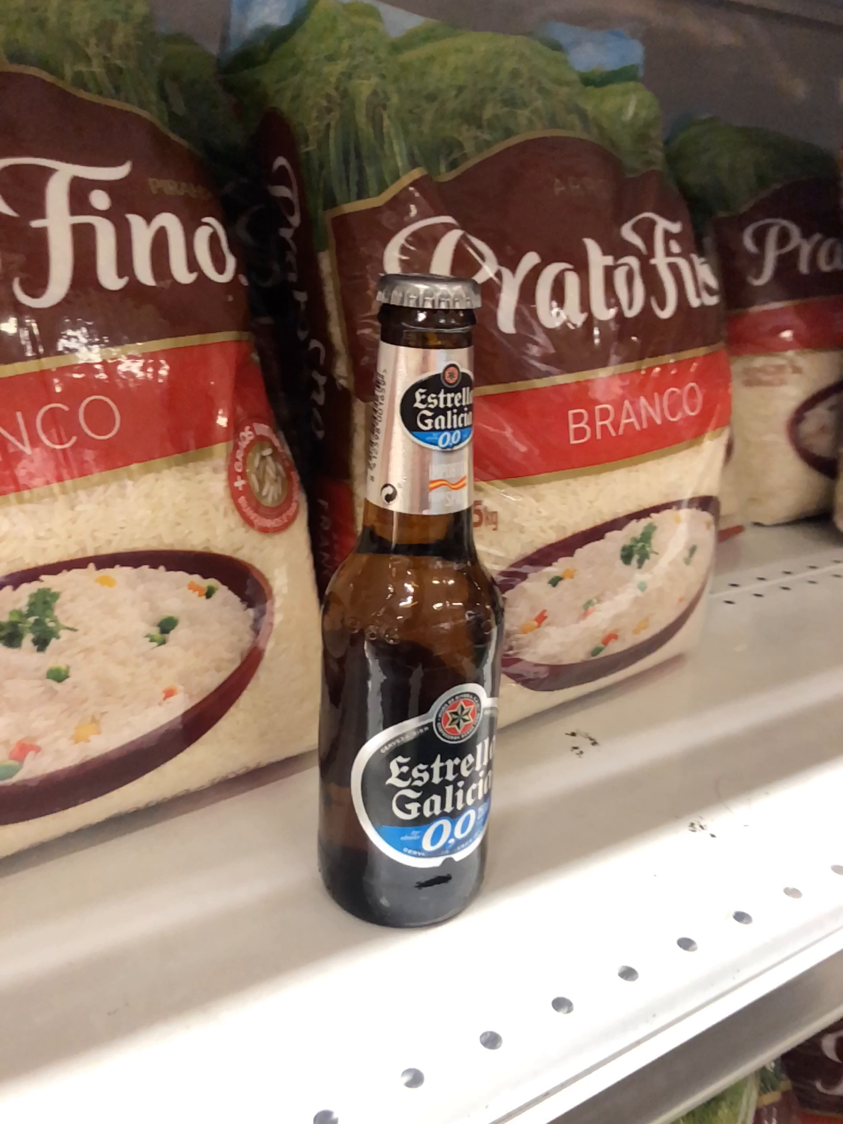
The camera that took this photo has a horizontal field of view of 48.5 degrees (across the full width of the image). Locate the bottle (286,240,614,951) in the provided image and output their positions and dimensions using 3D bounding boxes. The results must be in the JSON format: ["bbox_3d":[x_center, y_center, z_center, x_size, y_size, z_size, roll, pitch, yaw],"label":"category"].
[{"bbox_3d":[0.001,0.009,0.273,0.060,0.189,0.060,3,21,-1],"label":"bottle"}]
